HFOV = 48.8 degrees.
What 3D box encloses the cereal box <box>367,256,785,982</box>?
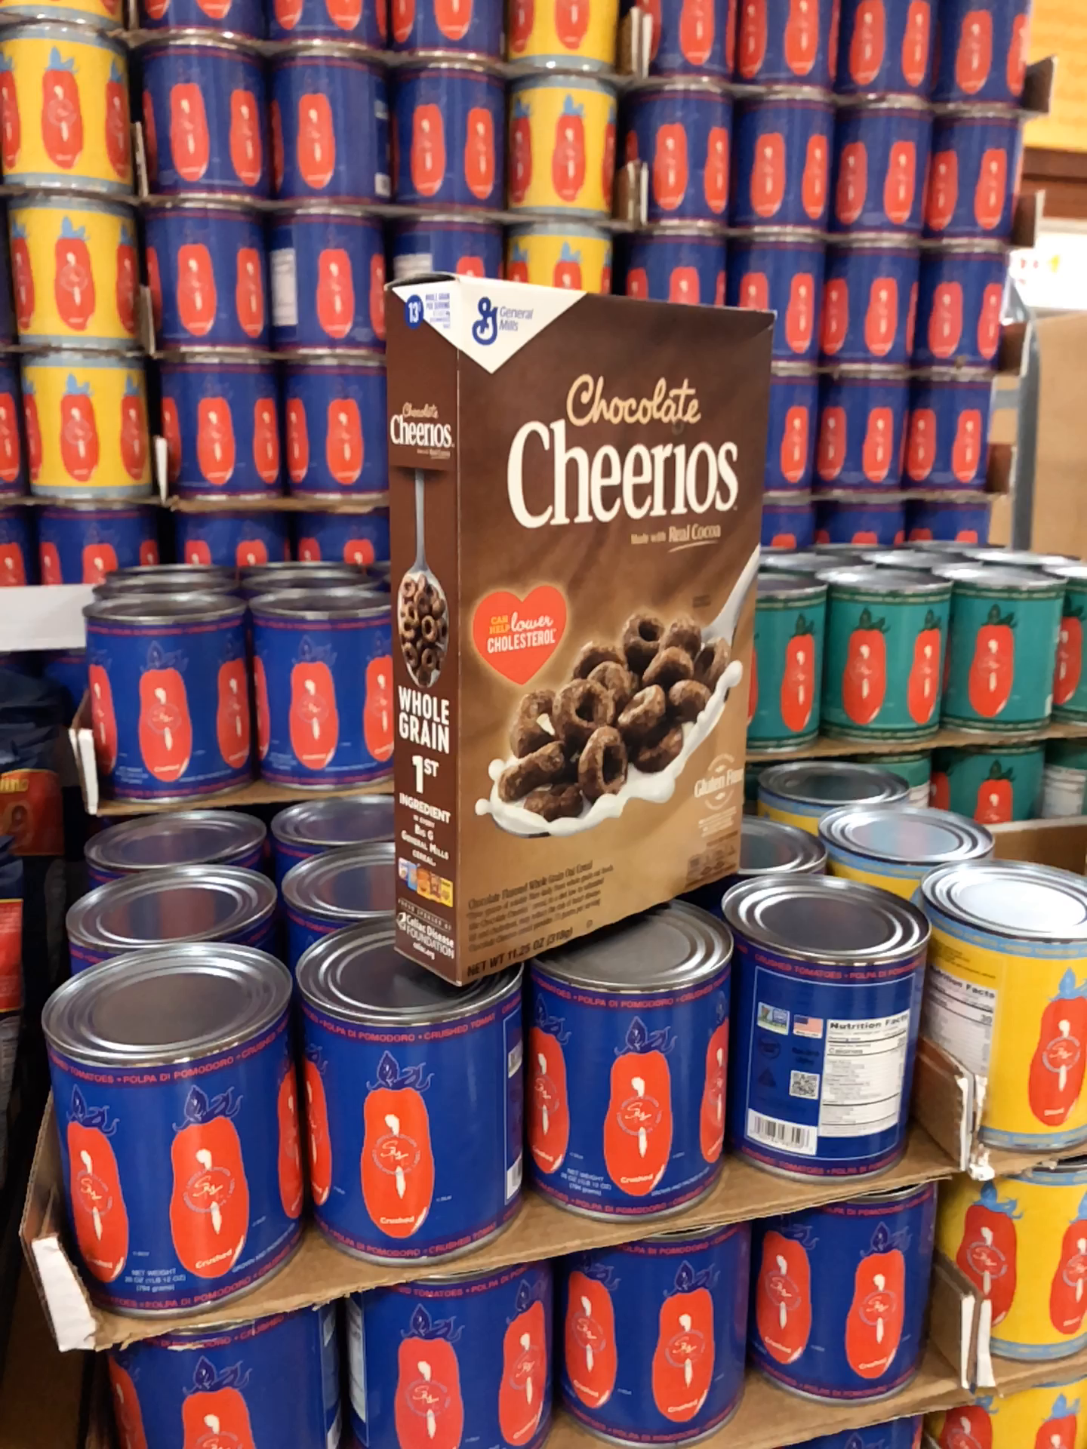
[{"bbox_3d":[0.023,-0.053,0.547,0.050,0.279,0.211,13,19,43],"label":"cereal box"}]
